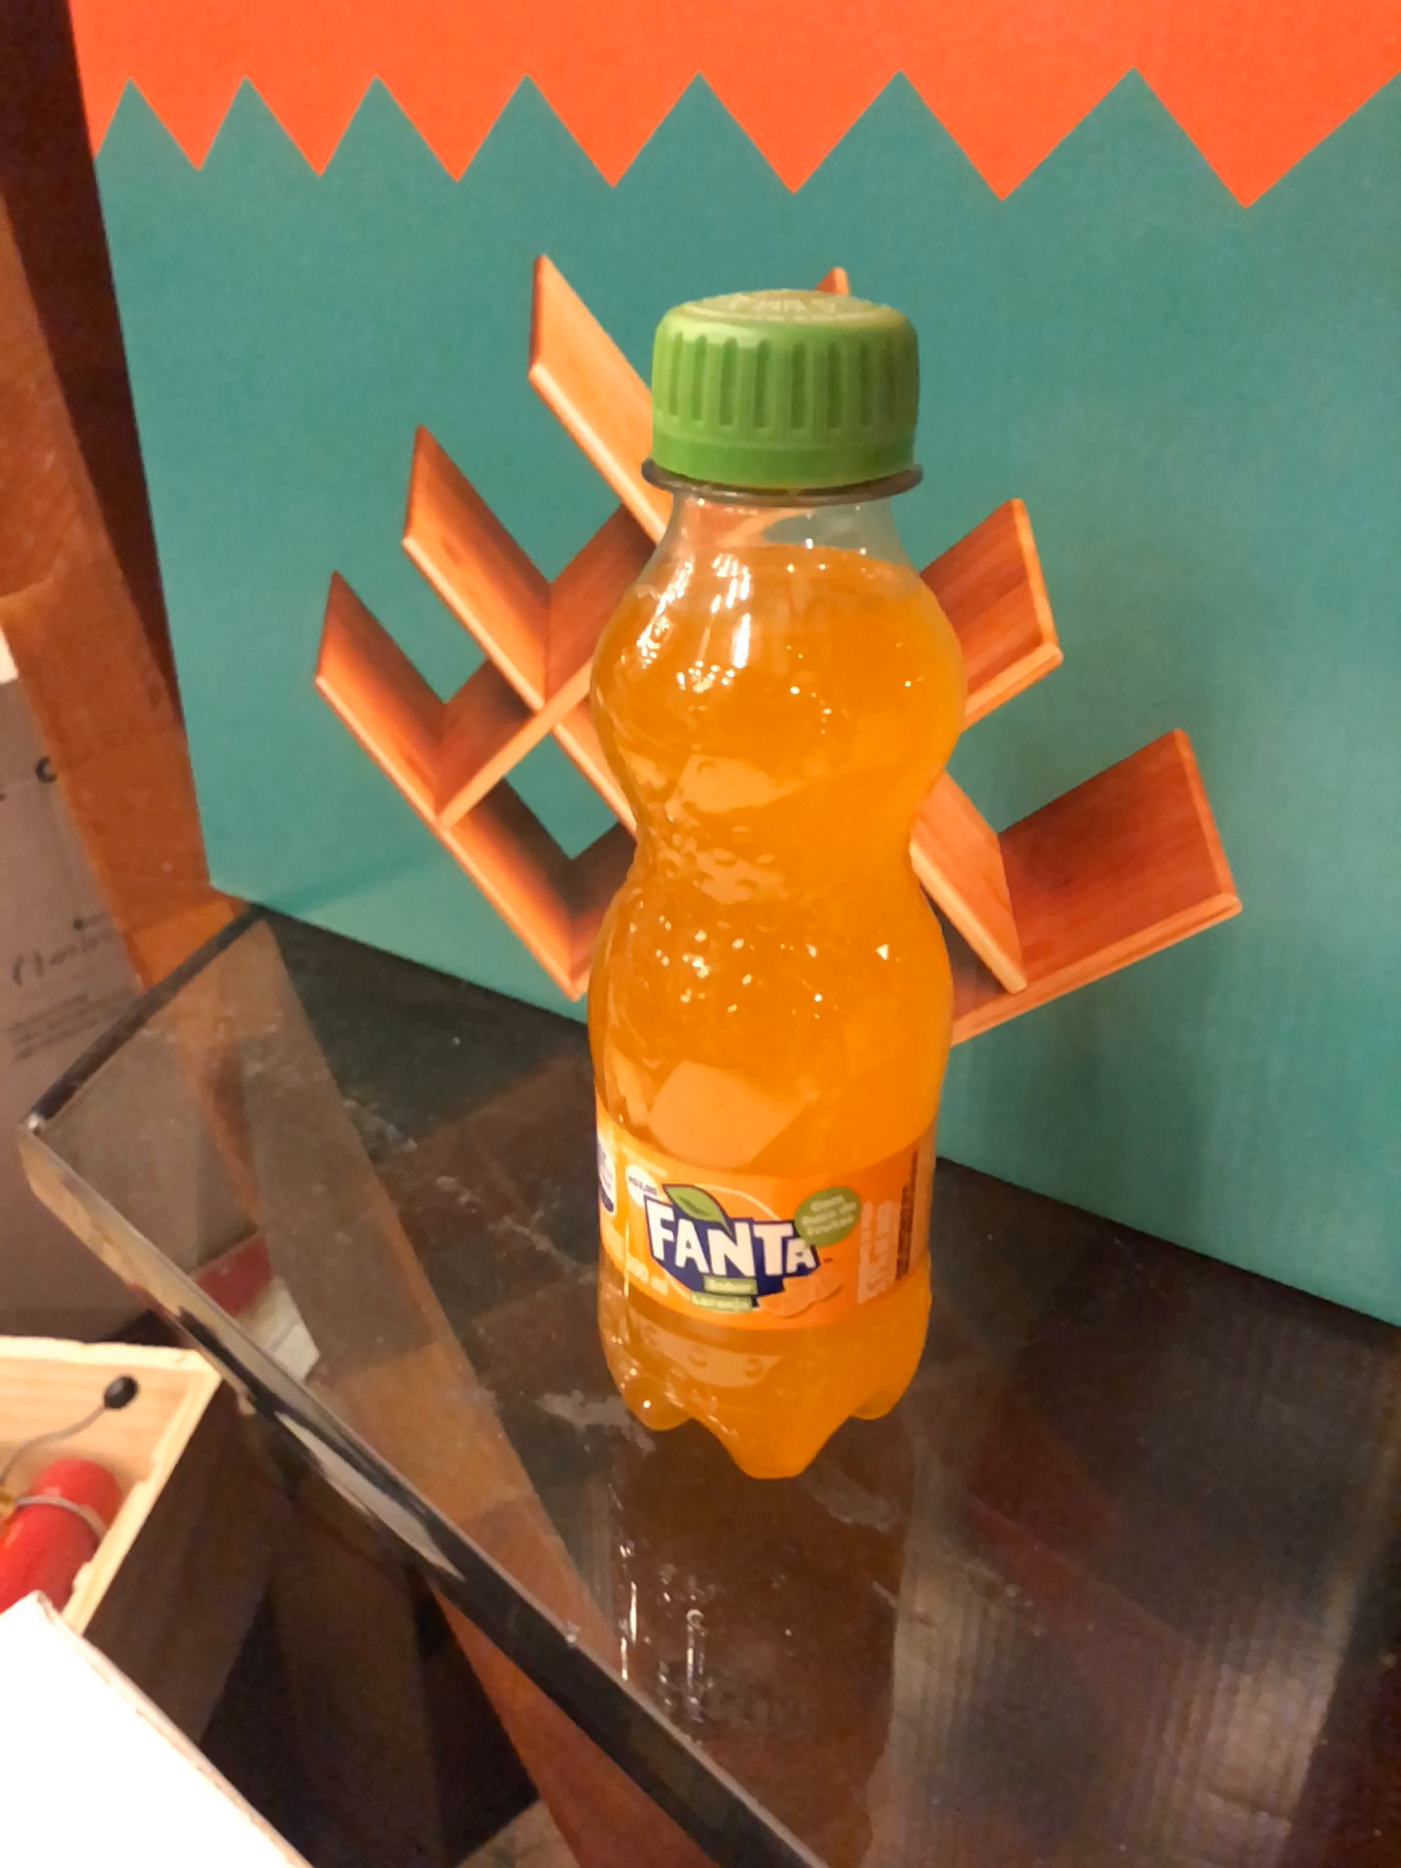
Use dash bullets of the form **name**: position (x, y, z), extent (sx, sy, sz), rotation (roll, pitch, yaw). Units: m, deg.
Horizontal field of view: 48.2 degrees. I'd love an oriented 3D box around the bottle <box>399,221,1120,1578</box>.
- **bottle**: position (0.011, -0.004, 0.205), extent (0.060, 0.159, 0.060), rotation (-1, 27, 0)
